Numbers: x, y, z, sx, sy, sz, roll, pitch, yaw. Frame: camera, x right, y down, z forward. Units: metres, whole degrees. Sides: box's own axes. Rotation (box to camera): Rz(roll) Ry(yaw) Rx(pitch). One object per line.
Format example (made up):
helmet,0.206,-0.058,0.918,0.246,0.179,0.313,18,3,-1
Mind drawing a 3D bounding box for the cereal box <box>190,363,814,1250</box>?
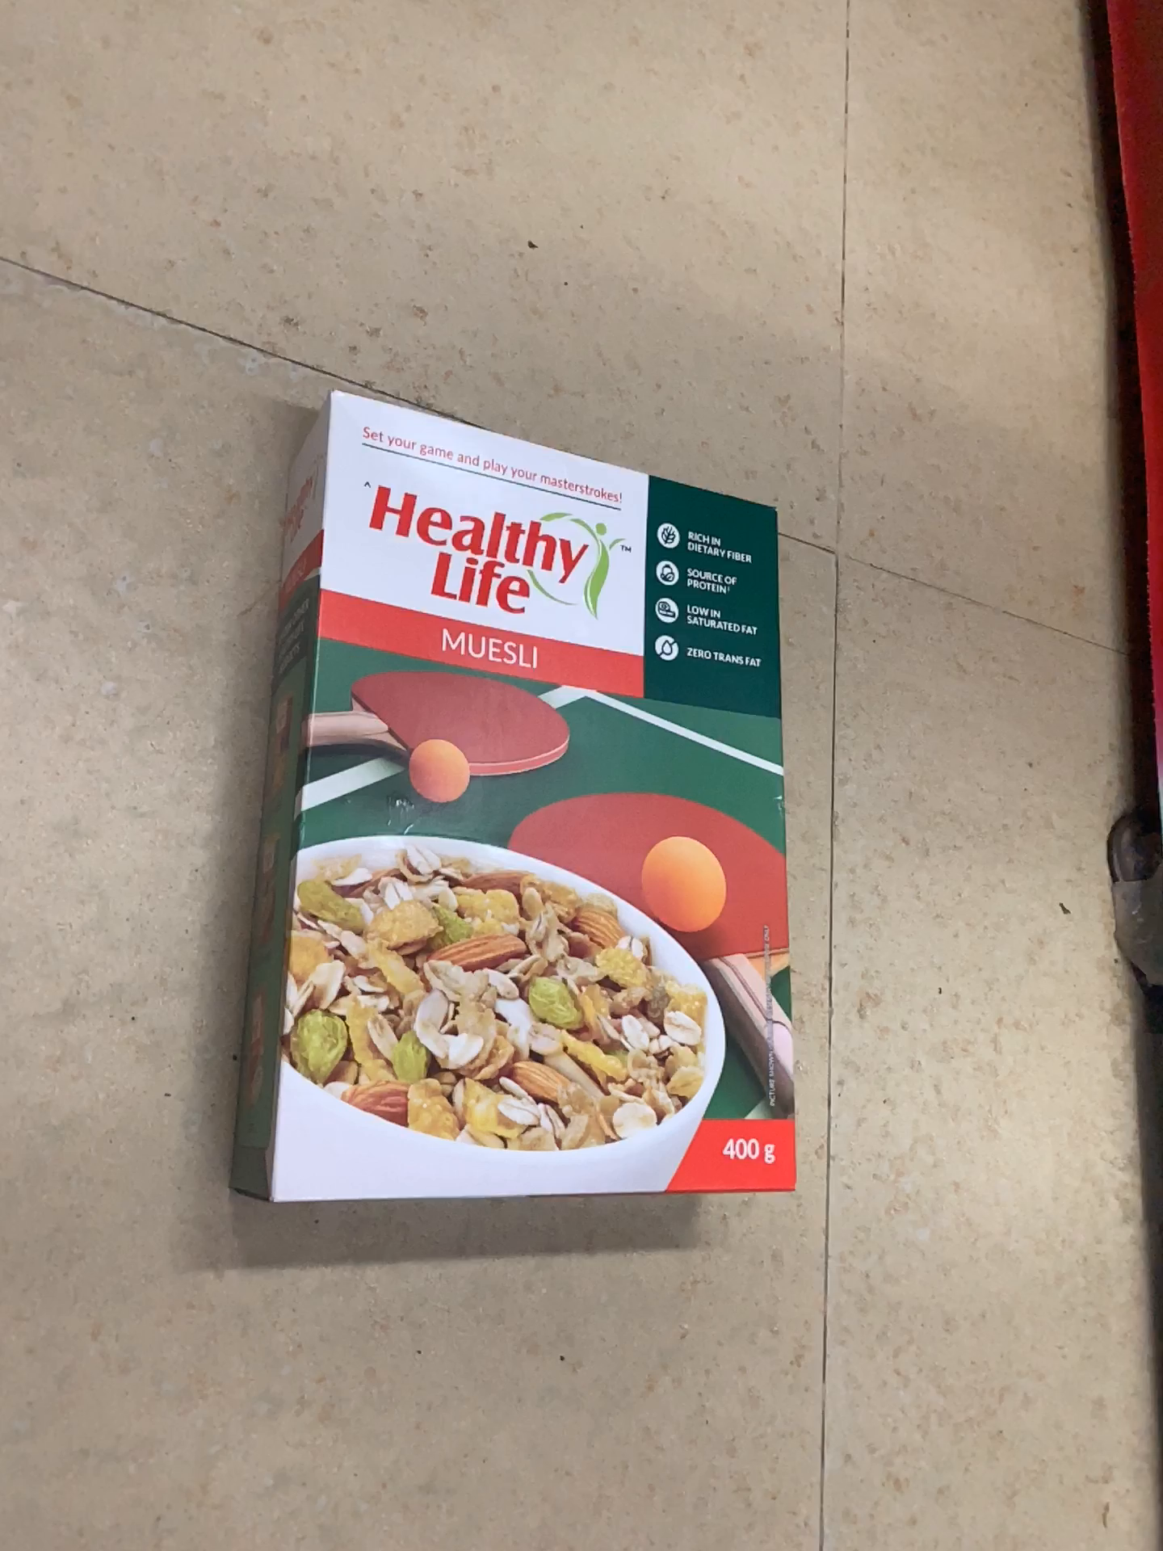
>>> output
cereal box,-0.020,0.016,0.371,0.160,0.080,0.230,9,73,-27
